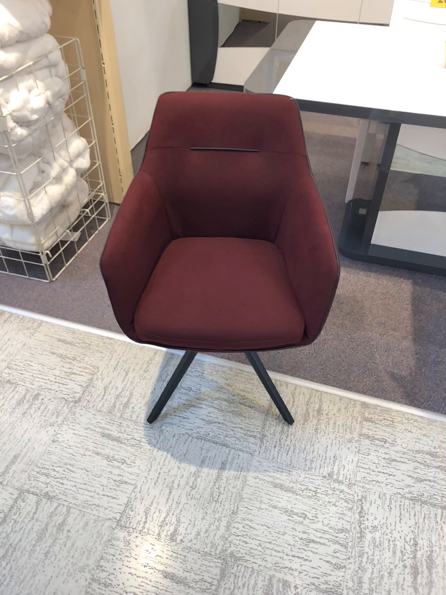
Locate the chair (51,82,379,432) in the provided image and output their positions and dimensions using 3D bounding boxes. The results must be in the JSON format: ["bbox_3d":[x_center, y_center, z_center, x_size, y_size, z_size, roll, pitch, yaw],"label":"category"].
[{"bbox_3d":[-0.010,-0.096,1.323,0.580,0.736,0.573,1,43,1],"label":"chair"}]
